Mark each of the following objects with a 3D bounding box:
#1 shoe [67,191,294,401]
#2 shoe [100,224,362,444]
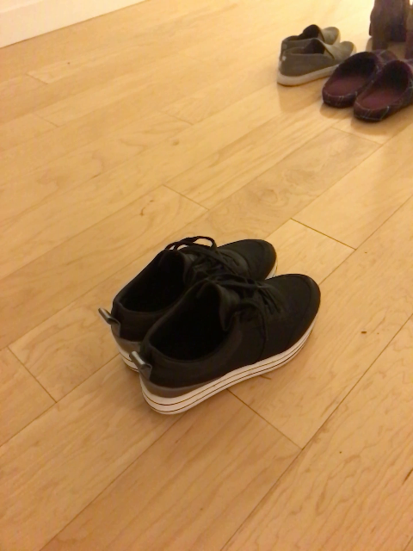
[{"bbox_3d":[-0.022,0.019,0.613,0.281,0.139,0.100,-31,50,-24],"label":"shoe"},{"bbox_3d":[0.036,0.066,0.562,0.291,0.139,0.100,-23,48,-18],"label":"shoe"}]
